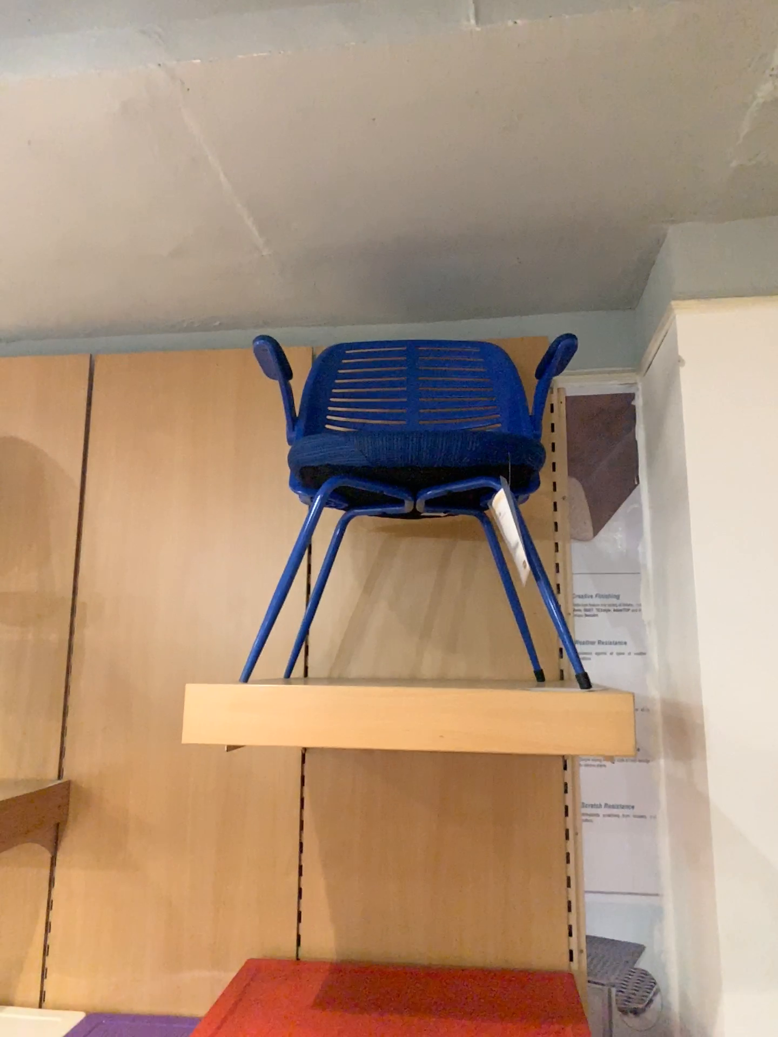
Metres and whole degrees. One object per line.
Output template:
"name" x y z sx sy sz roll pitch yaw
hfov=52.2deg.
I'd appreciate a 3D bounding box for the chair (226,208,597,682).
"chair" 0.047 -0.091 1.564 0.570 0.792 0.549 0 -11 3
